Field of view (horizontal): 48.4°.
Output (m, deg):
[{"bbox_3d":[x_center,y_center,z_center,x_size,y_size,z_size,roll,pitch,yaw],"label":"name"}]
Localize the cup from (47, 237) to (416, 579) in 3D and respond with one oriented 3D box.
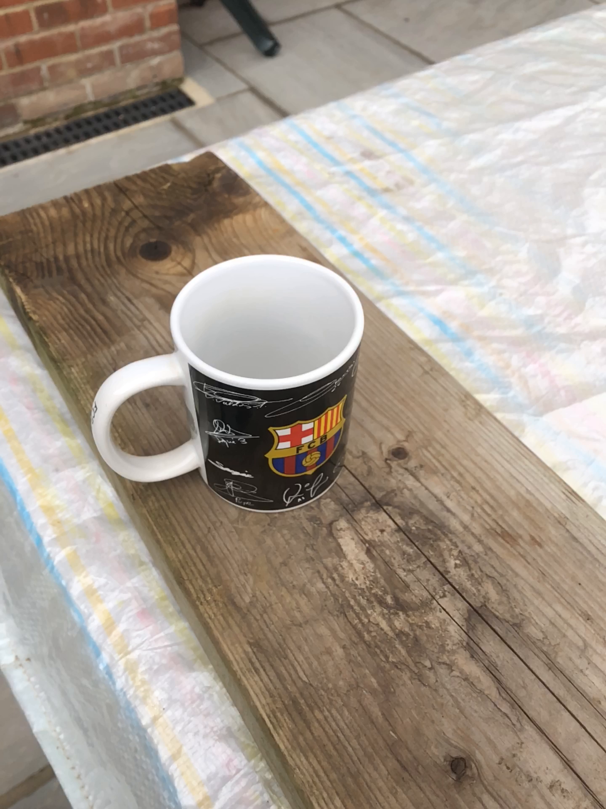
[{"bbox_3d":[-0.033,0.000,0.316,0.130,0.089,0.090,-18,55,-16],"label":"cup"}]
